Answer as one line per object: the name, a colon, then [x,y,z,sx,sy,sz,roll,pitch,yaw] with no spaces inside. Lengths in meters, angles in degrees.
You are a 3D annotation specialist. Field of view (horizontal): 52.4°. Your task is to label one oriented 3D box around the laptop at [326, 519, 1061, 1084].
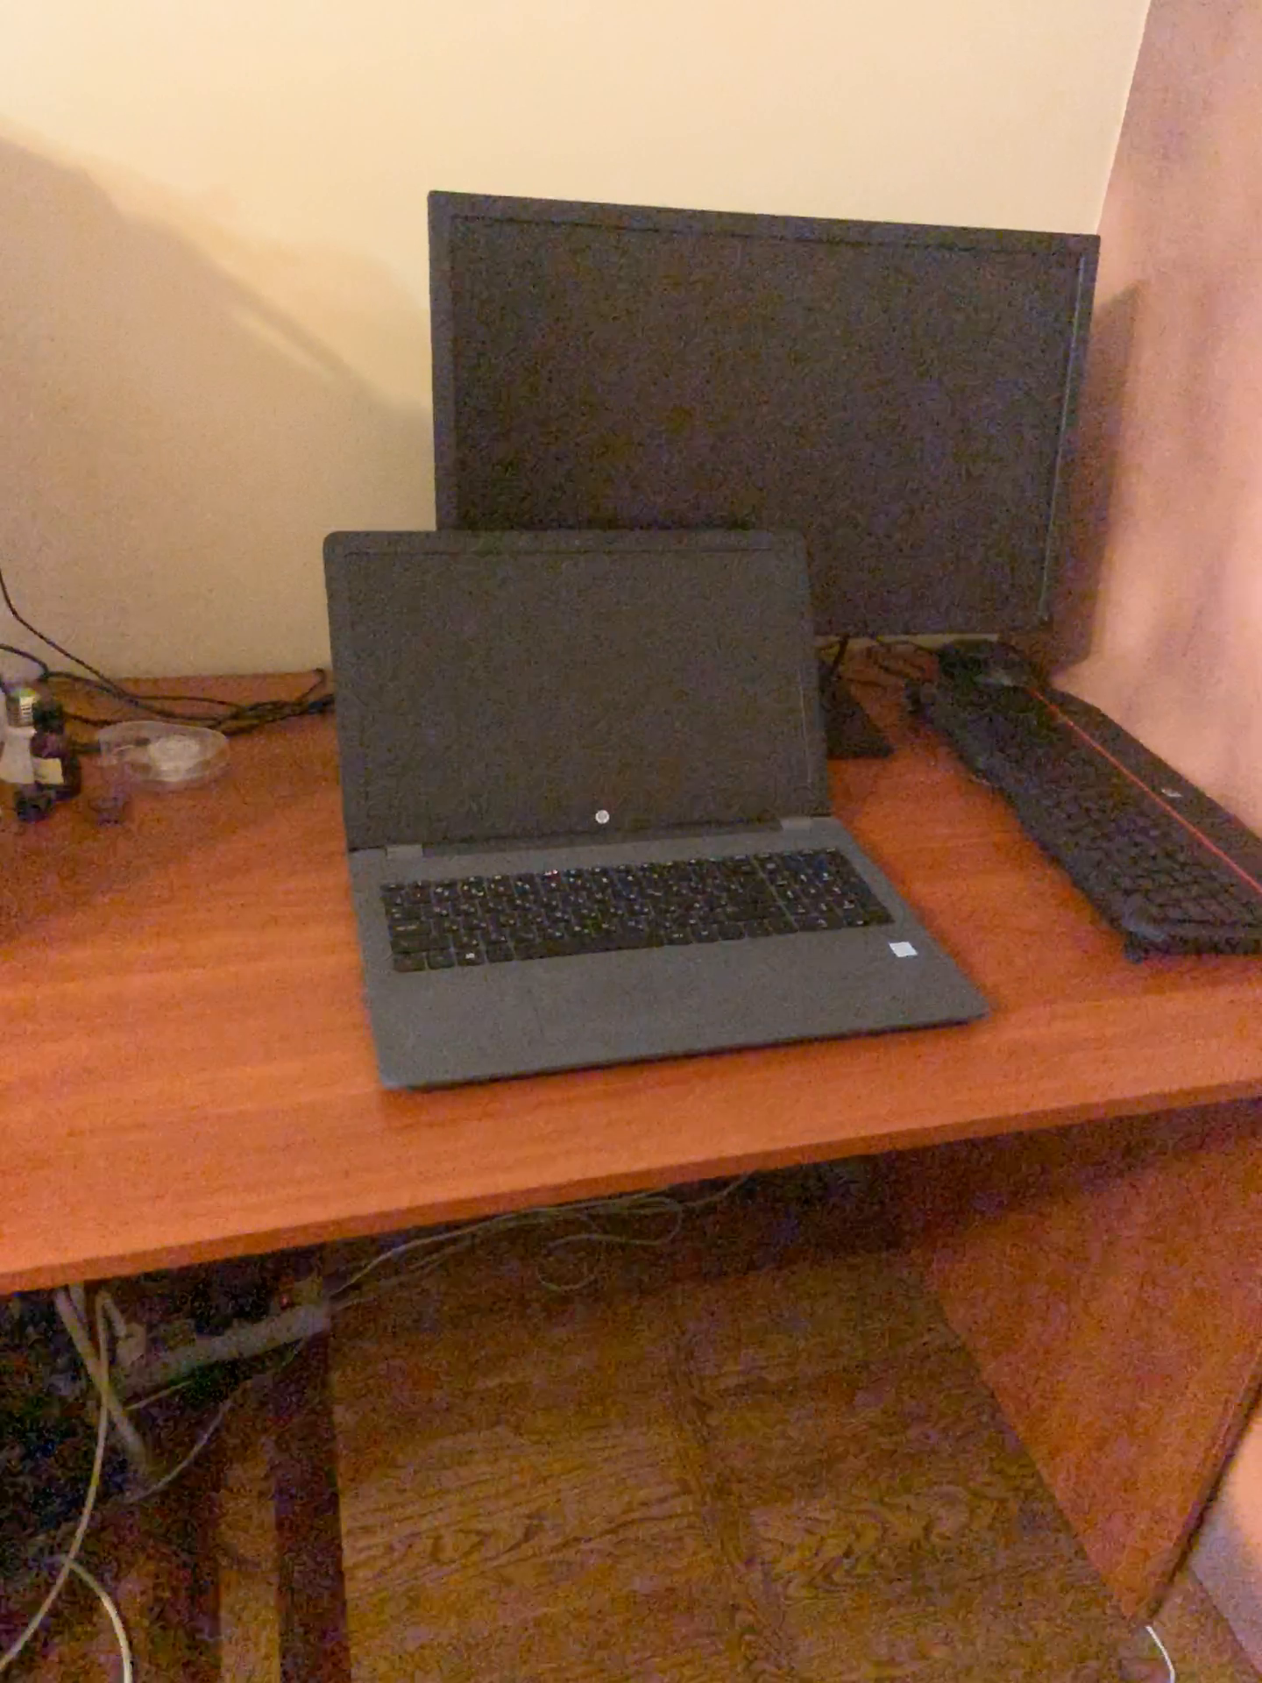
laptop: [0.001,-0.061,0.844,0.366,0.181,0.376,-4,32,-15]
